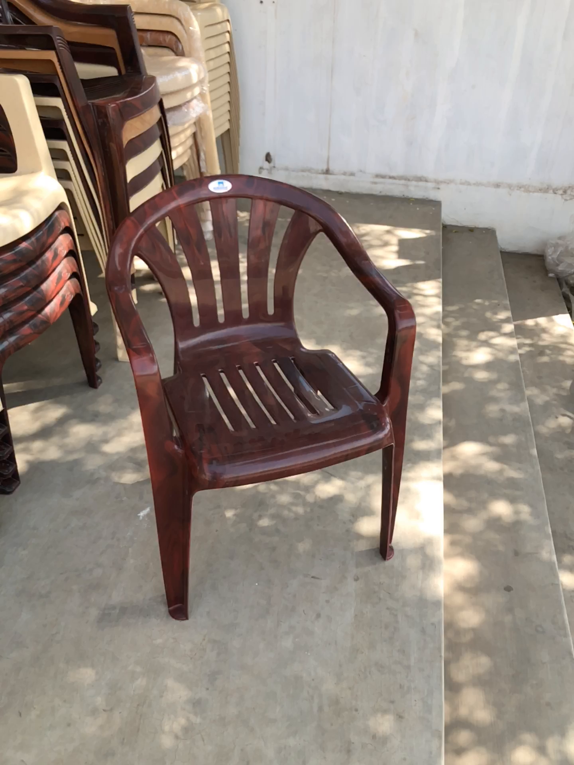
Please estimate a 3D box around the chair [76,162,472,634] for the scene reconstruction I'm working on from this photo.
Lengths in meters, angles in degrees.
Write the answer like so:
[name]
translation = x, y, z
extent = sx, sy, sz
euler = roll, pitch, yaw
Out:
[chair]
translation = -0.063, 0.008, 1.374
extent = 0.581, 0.766, 0.522
euler = -12, 37, -18
